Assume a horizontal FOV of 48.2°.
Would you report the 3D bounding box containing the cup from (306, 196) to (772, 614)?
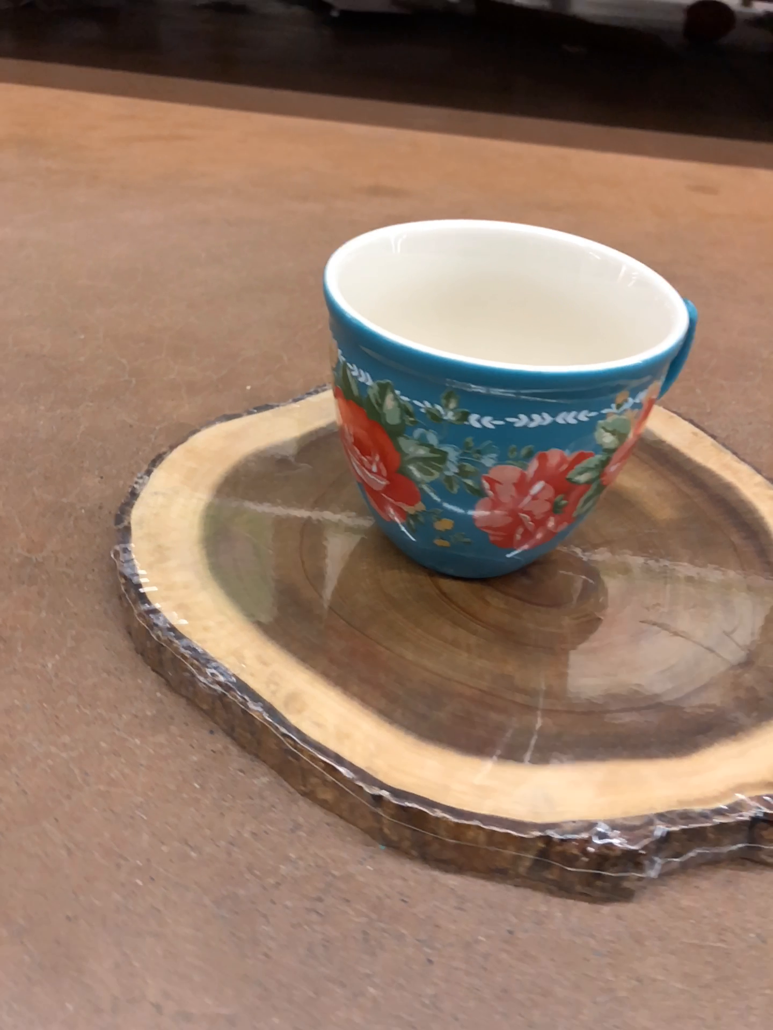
[{"bbox_3d":[0.051,-0.043,0.275,0.130,0.080,0.100,-8,40,-17],"label":"cup"}]
